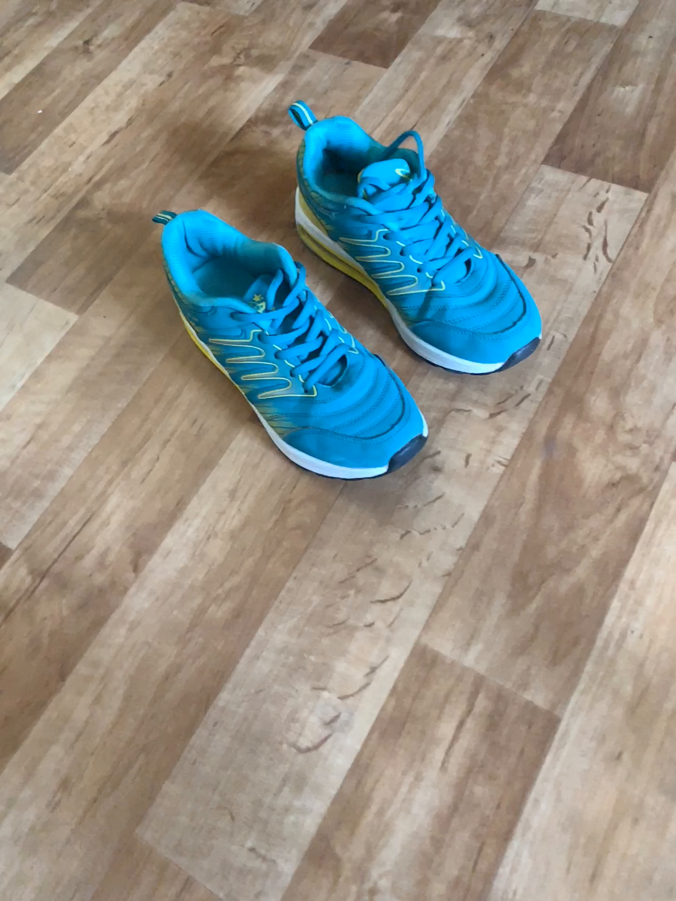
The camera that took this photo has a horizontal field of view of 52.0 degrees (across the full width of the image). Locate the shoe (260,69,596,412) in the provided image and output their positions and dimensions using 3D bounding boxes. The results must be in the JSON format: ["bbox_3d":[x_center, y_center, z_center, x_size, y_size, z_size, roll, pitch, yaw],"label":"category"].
[{"bbox_3d":[0.060,-0.166,0.541,0.100,0.120,0.240,-37,64,-13],"label":"shoe"}]

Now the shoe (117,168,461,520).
[{"bbox_3d":[-0.036,-0.080,0.507,0.100,0.120,0.230,-41,65,-17],"label":"shoe"}]
